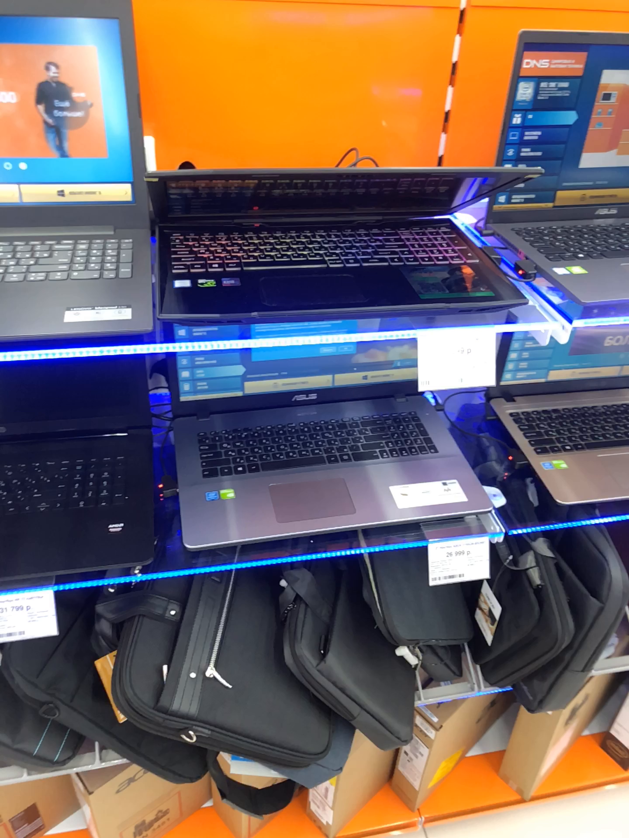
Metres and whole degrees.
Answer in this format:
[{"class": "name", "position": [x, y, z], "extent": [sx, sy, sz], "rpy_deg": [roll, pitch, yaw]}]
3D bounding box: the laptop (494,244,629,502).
[{"class": "laptop", "position": [0.487, -0.073, 0.960], "extent": [0.359, 0.240, 0.231], "rpy_deg": [-5, 37, -10]}]

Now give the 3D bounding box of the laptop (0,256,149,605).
[{"class": "laptop", "position": [-0.414, -0.006, 0.797], "extent": [0.406, 0.270, 0.274], "rpy_deg": [-4, 35, -11]}]

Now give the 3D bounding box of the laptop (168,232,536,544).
[{"class": "laptop", "position": [0.021, -0.058, 0.908], "extent": [0.394, 0.256, 0.288], "rpy_deg": [-5, 37, -11]}]

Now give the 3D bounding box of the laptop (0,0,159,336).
[{"class": "laptop", "position": [-0.354, -0.260, 0.657], "extent": [0.359, 0.228, 0.319], "rpy_deg": [-4, 35, -12]}]

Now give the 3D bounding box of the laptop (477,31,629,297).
[{"class": "laptop", "position": [0.431, -0.301, 0.789], "extent": [0.352, 0.216, 0.231], "rpy_deg": [-7, 37, -14]}]

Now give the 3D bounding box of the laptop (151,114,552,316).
[{"class": "laptop", "position": [0.018, -0.228, 0.737], "extent": [0.364, 0.121, 0.244], "rpy_deg": [-4, 36, -12]}]
